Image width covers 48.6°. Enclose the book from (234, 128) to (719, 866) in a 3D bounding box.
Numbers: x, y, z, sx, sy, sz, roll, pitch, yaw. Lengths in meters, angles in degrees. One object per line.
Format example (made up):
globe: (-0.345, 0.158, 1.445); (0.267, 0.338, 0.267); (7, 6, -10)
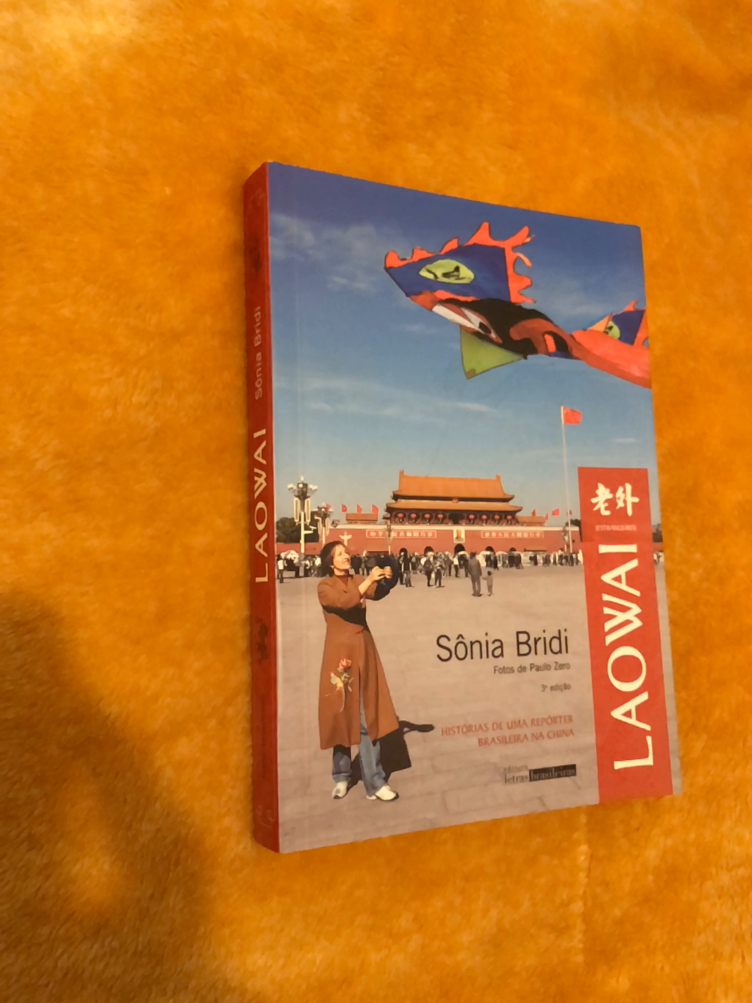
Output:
book: (0.036, -0.005, 0.315); (0.170, 0.040, 0.240); (1, 82, -19)
